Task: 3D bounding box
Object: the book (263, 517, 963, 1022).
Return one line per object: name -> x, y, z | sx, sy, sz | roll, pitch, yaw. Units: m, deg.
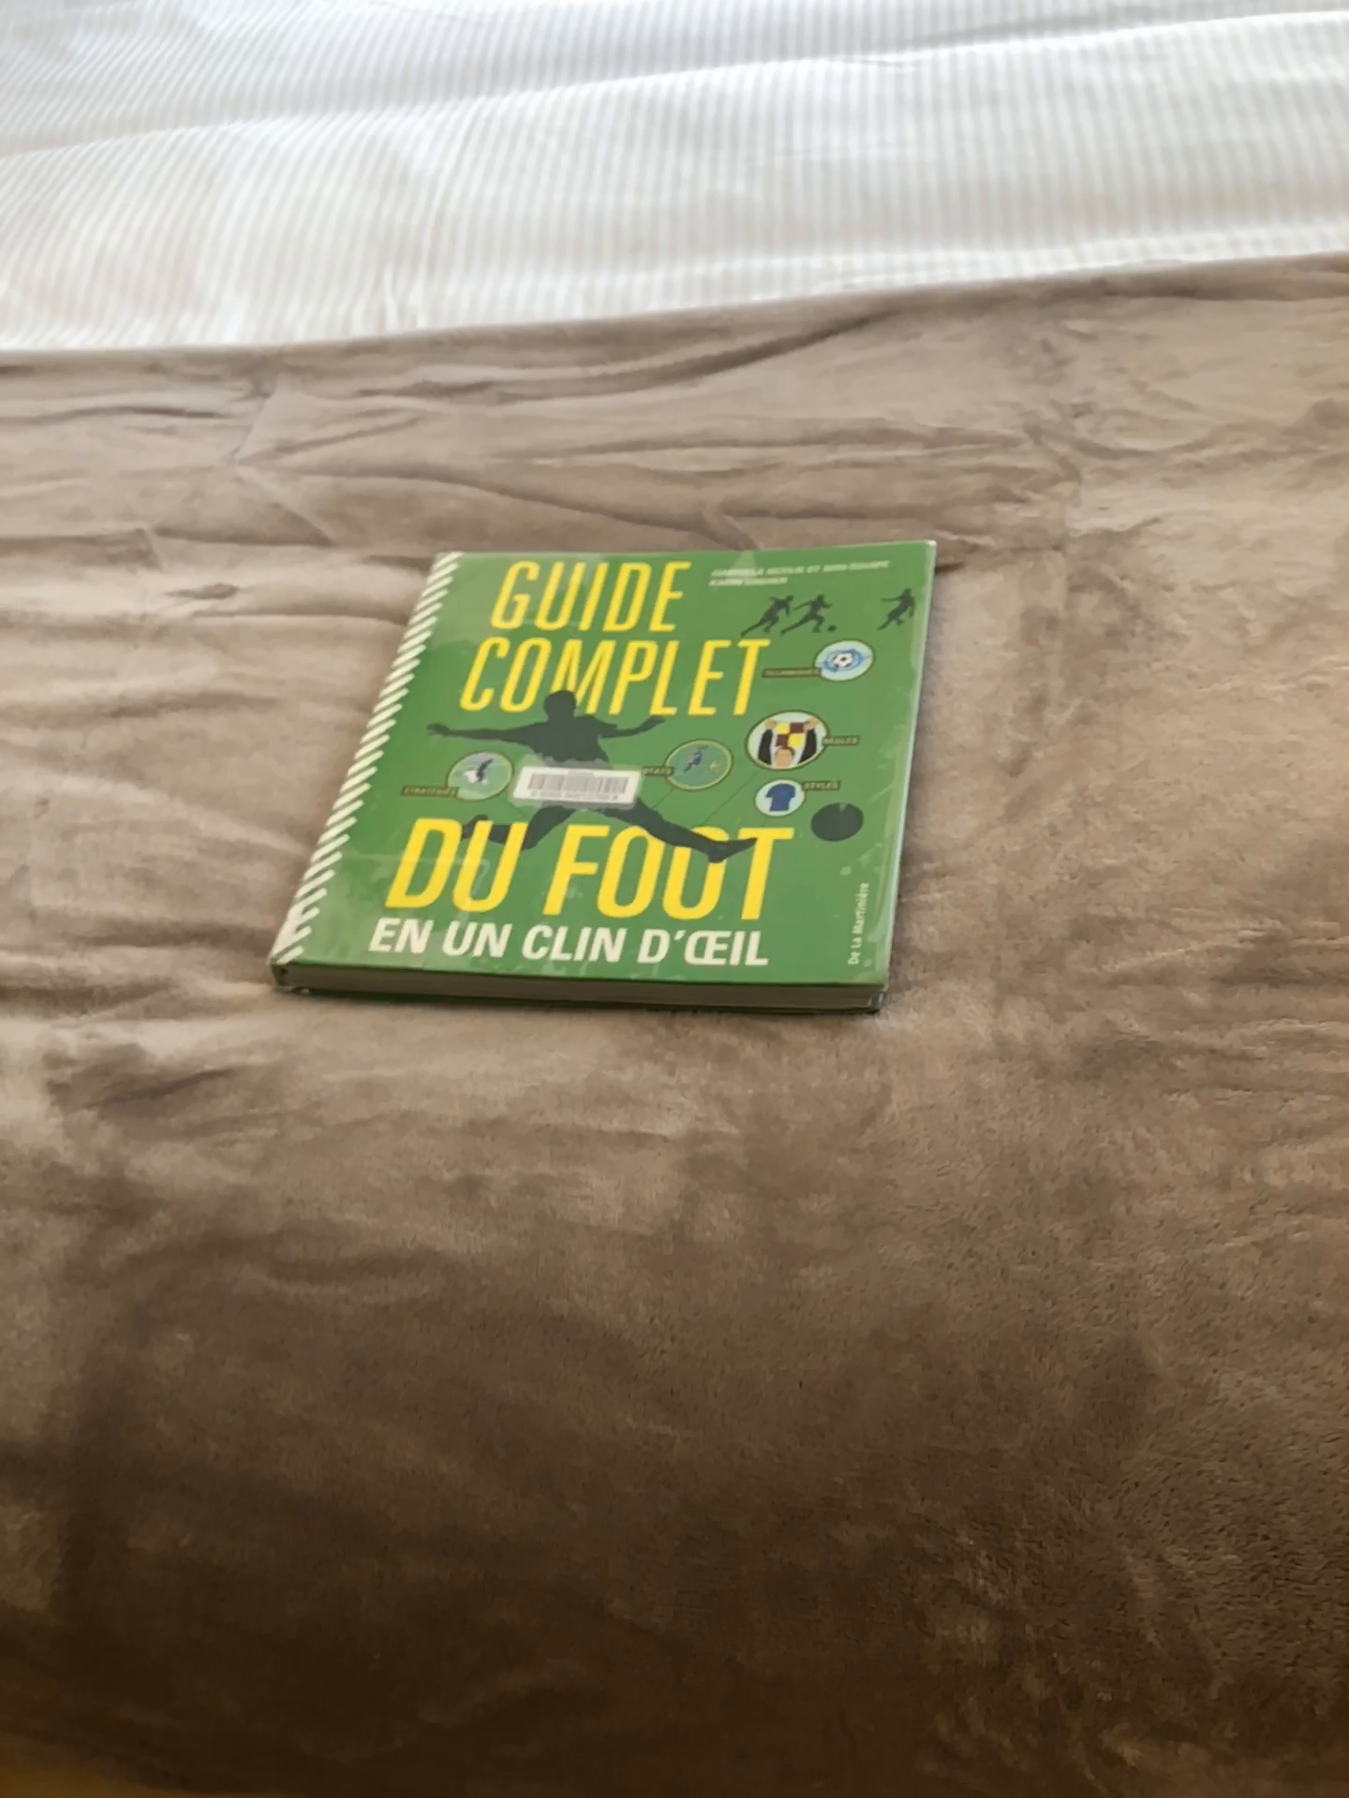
book -> -0.011, -0.065, 0.572 | 0.227, 0.018, 0.239 | 3, 52, 12
